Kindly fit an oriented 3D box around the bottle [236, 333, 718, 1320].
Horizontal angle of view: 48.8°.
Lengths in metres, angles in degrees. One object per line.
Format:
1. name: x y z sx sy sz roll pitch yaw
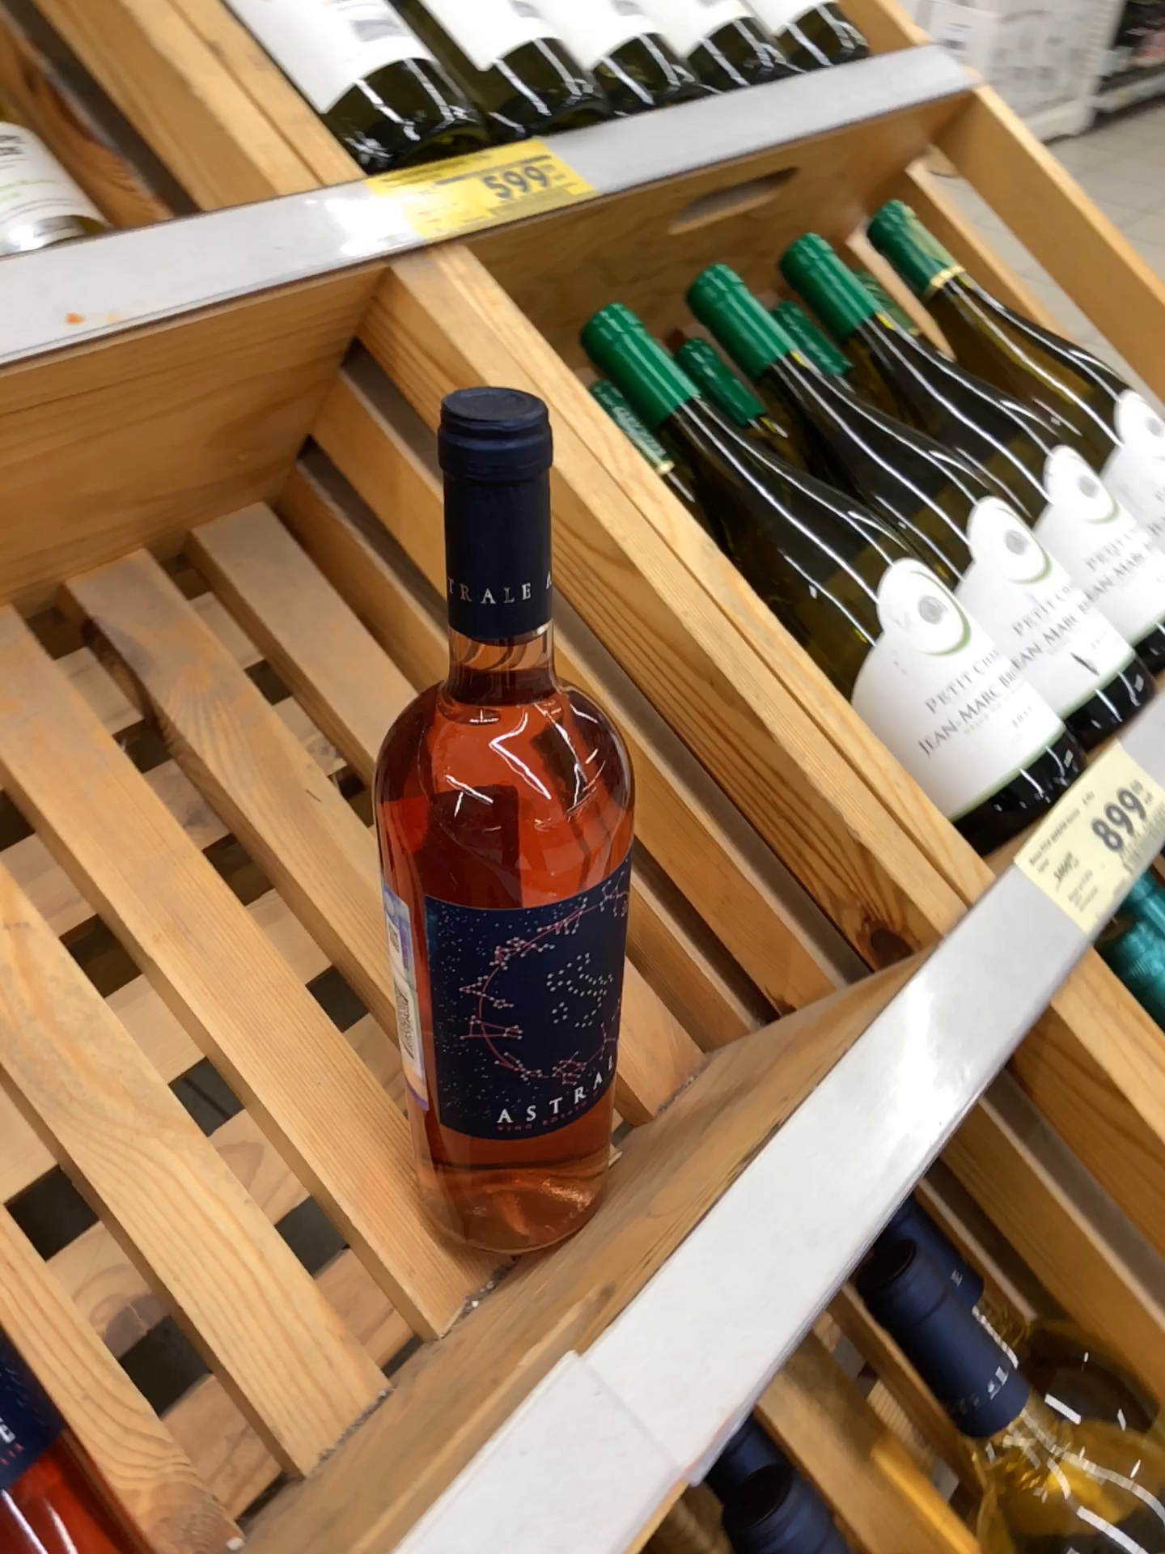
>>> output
1. bottle: -0.028 0.030 0.387 0.080 0.288 0.080 1 36 -1
